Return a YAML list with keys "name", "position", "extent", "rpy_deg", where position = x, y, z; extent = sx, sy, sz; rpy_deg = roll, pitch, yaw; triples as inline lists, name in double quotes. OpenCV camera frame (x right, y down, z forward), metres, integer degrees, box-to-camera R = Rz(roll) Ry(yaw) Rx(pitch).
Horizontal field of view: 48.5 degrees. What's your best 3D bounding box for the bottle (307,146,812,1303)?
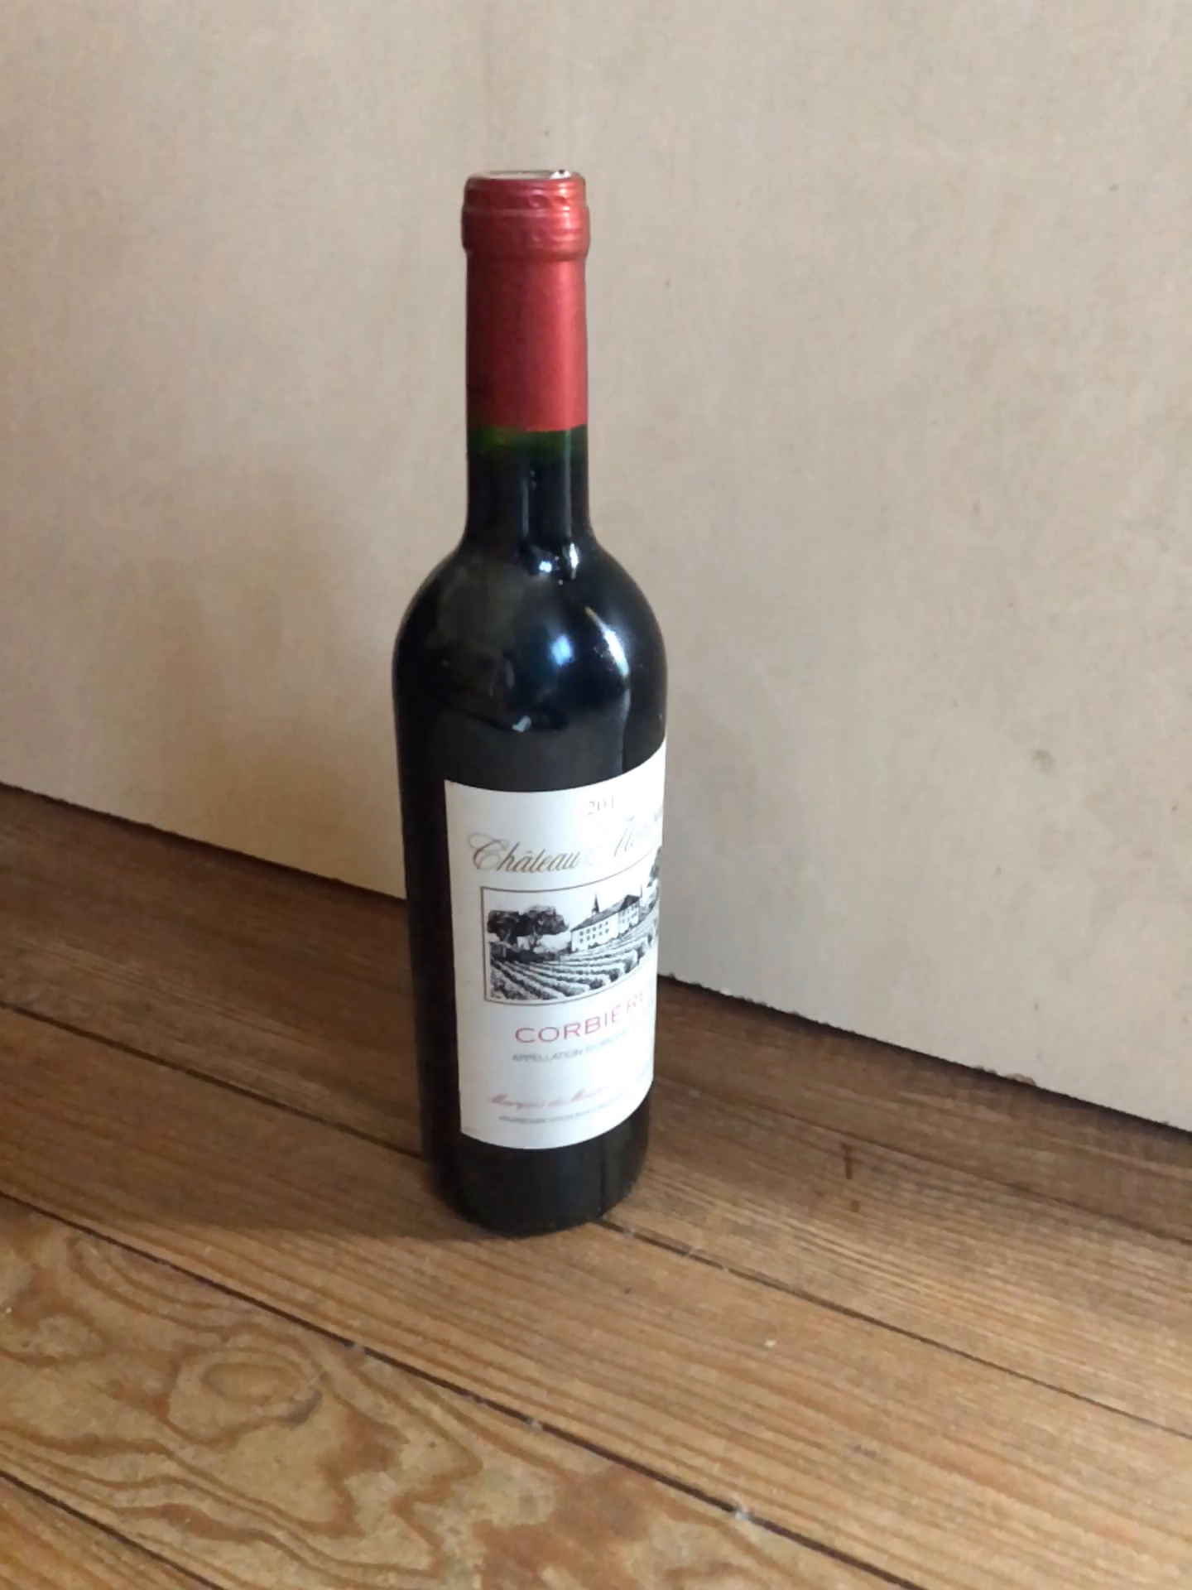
- name: "bottle"
  position: [-0.011, -0.007, 0.348]
  extent: [0.080, 0.288, 0.070]
  rpy_deg: [-18, 35, -30]
